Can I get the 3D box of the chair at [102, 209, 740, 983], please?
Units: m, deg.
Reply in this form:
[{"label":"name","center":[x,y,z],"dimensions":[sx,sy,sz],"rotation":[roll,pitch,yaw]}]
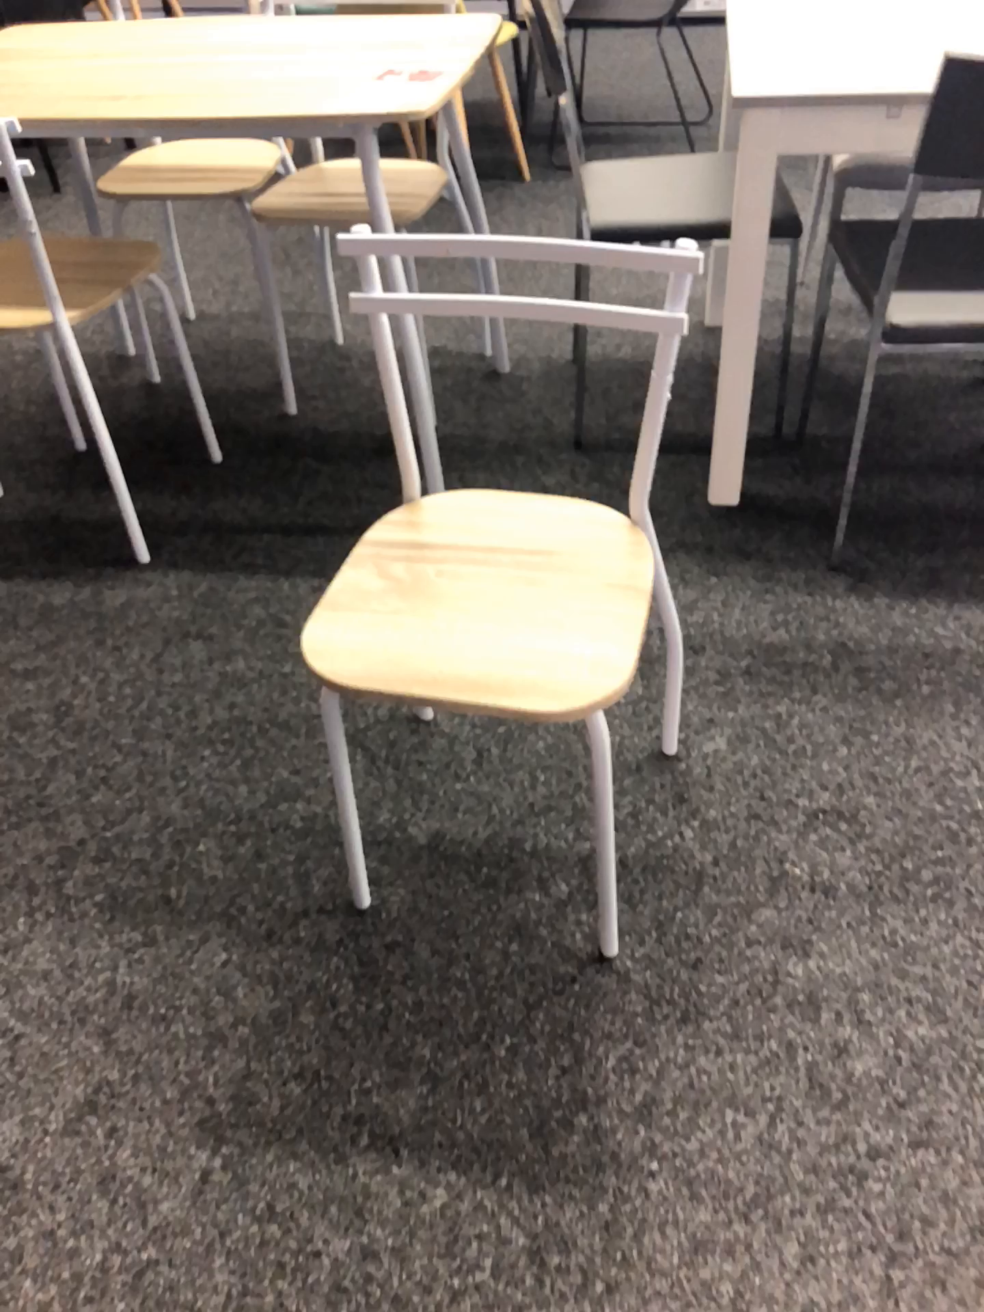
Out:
[{"label":"chair","center":[-0.010,-0.057,1.233],"dimensions":[0.500,0.726,0.443],"rotation":[4,42,10]}]
